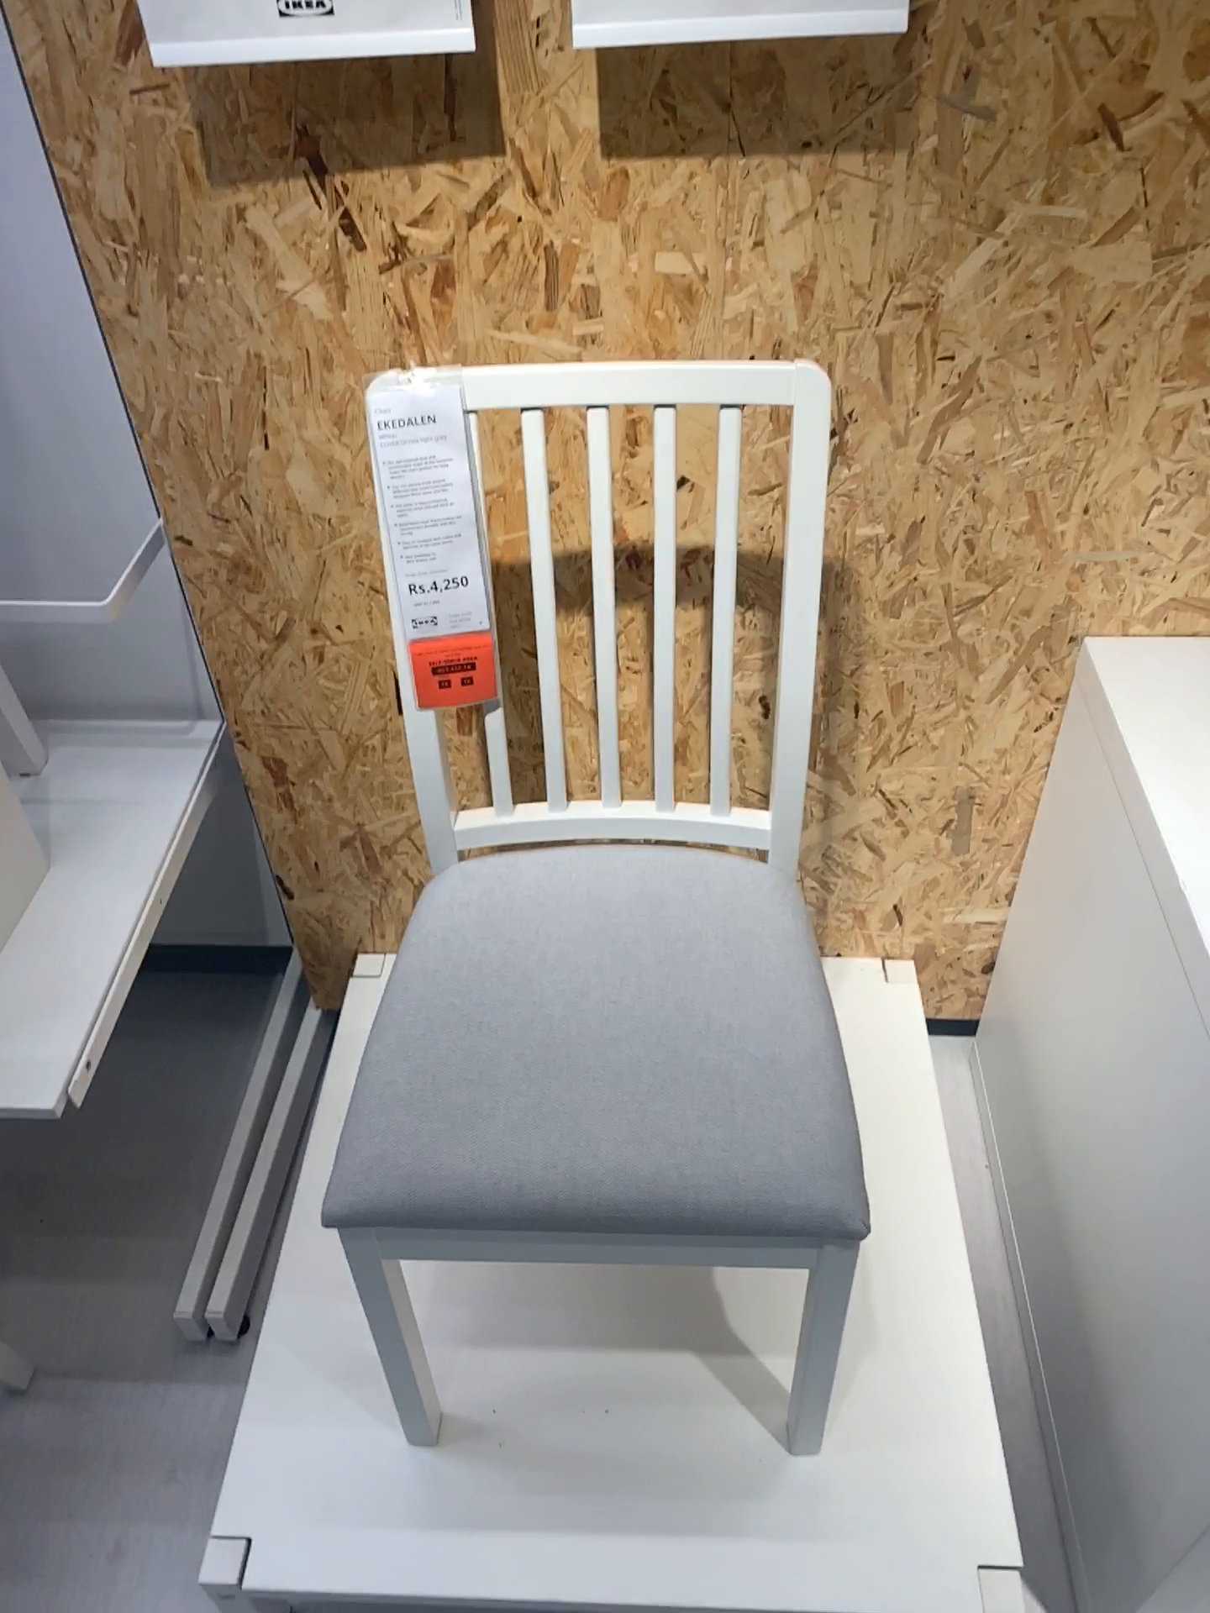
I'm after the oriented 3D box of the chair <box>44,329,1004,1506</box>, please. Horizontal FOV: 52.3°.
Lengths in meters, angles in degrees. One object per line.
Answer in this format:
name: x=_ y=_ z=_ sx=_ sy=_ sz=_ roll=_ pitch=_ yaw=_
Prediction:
chair: x=-0.013 y=0.145 z=1.036 sx=0.430 sy=0.886 sz=0.512 roll=0 pitch=43 yaw=3
